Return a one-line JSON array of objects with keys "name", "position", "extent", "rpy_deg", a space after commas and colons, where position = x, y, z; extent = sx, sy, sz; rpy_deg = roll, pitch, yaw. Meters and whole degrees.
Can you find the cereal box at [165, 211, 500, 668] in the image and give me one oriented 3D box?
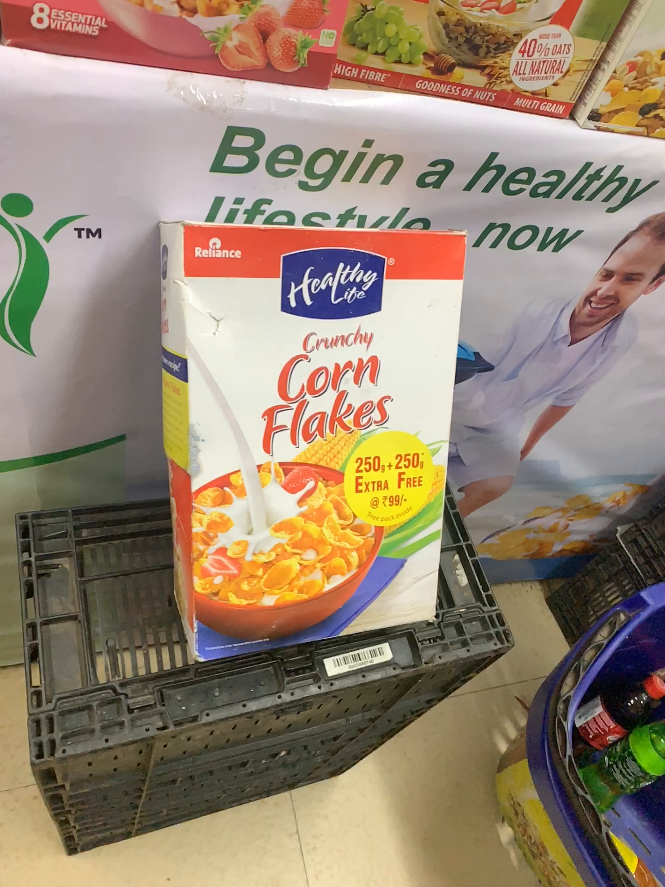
[{"name": "cereal box", "position": [-0.006, -0.009, 0.484], "extent": [0.200, 0.280, 0.100], "rpy_deg": [-4, 14, -19]}]
